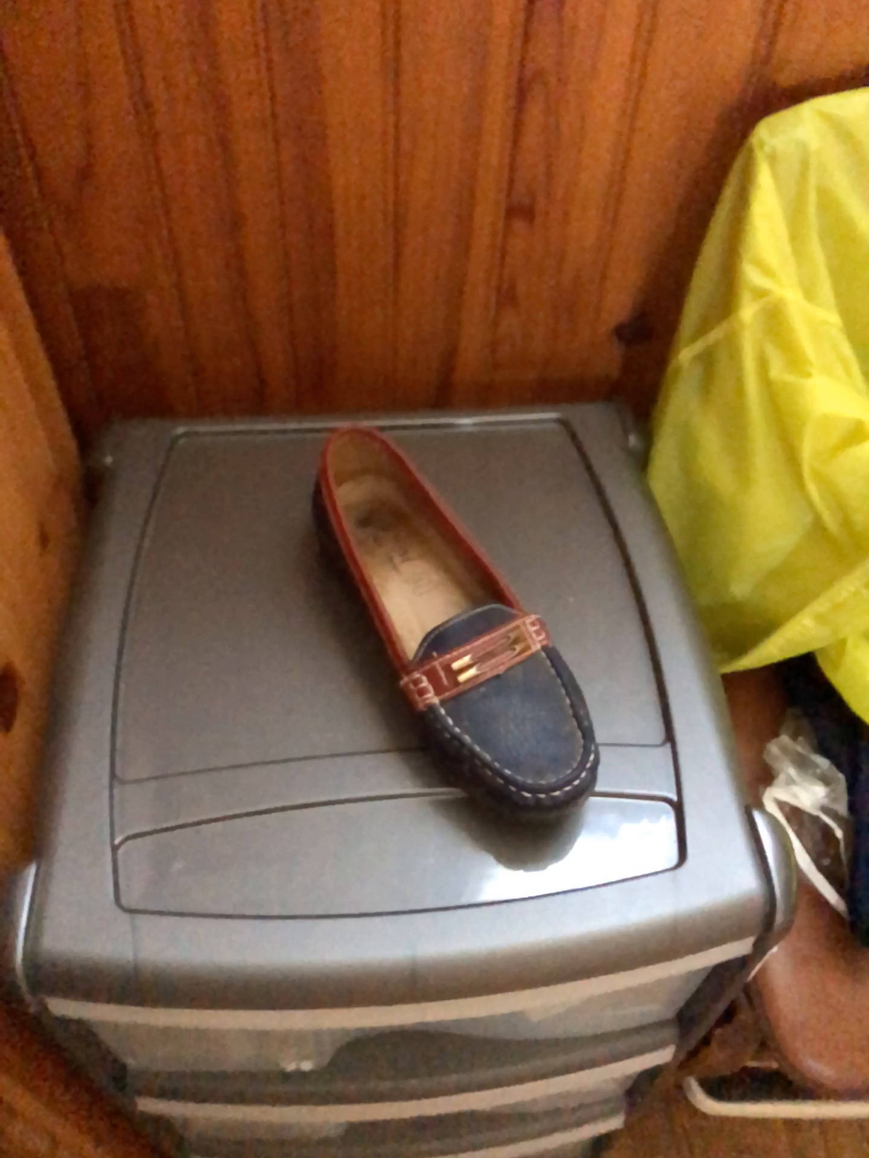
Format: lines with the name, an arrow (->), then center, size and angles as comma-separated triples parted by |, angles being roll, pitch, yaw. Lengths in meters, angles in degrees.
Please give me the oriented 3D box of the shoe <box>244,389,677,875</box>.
shoe -> 0.000, 0.013, 0.520 | 0.100, 0.070, 0.261 | -23, 54, -21
